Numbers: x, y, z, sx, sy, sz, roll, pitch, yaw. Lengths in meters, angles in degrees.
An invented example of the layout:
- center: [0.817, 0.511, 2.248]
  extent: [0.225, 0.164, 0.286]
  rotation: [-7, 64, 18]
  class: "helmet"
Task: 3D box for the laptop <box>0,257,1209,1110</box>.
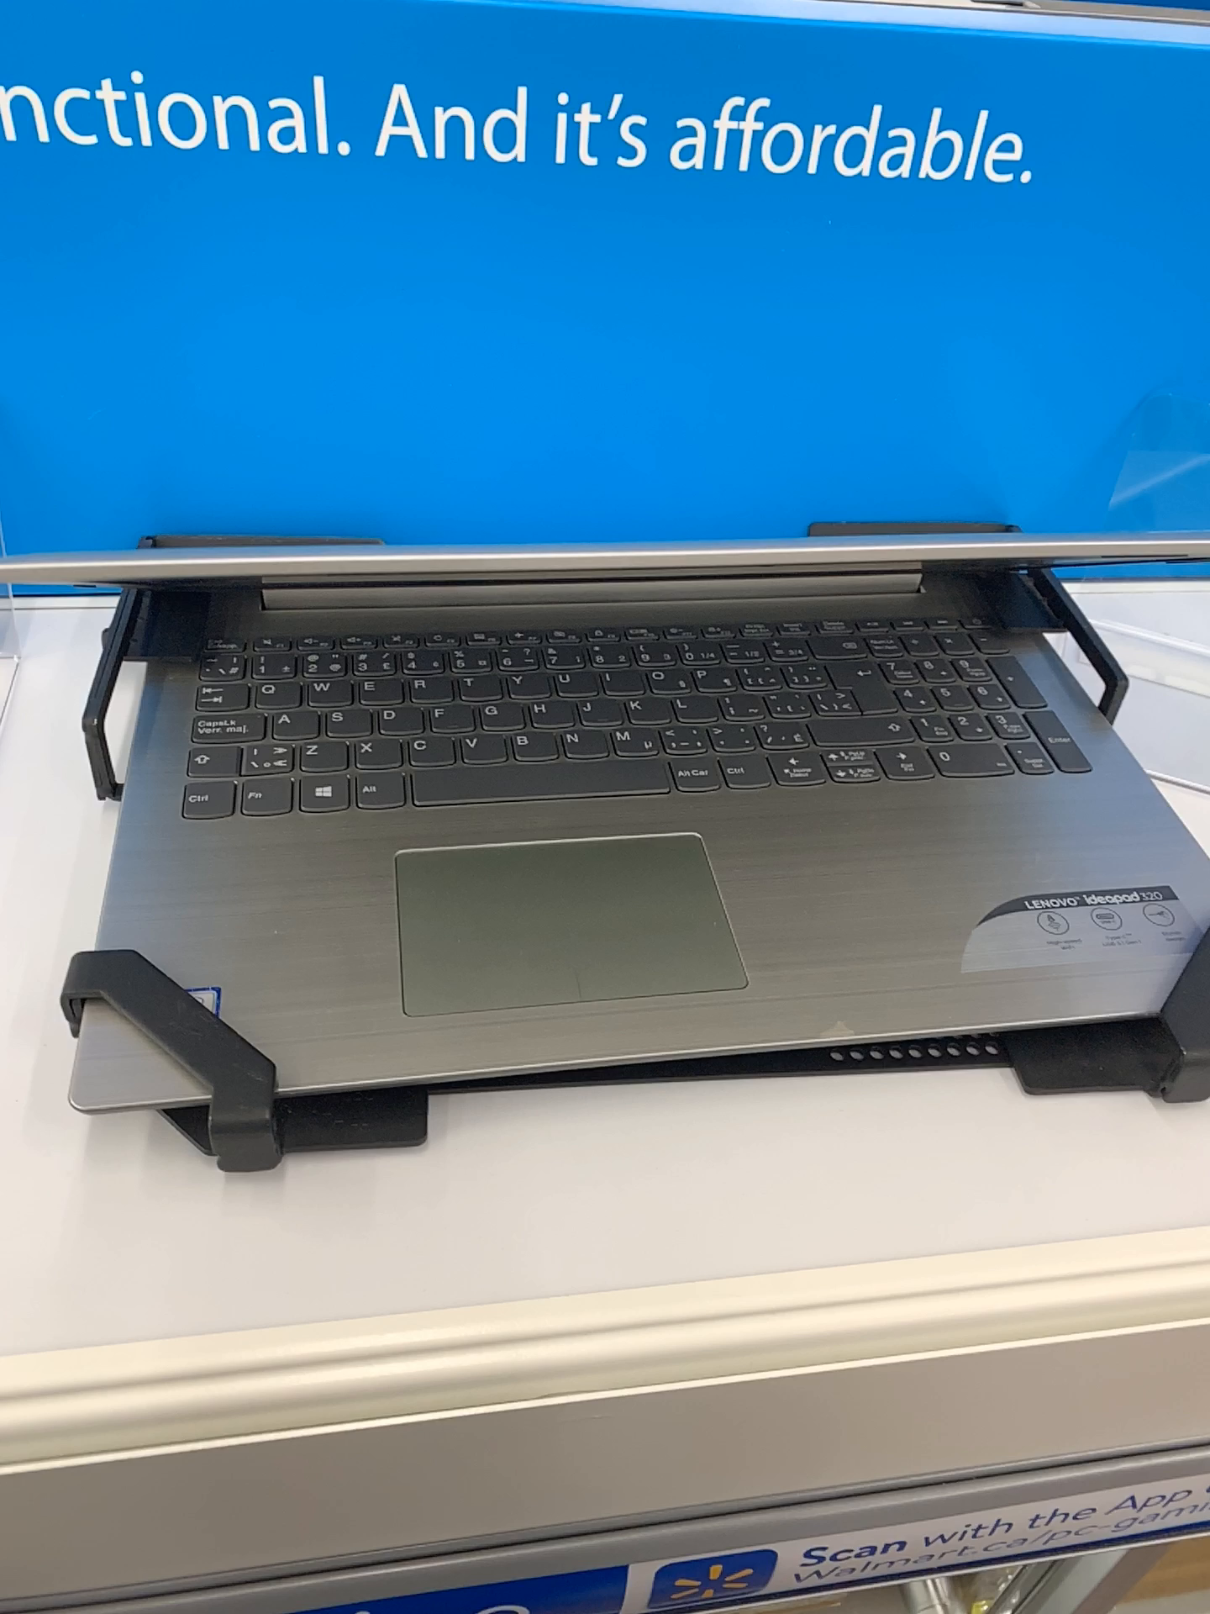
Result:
- center: [0.023, -0.059, 0.365]
  extent: [0.326, 0.115, 0.230]
  rotation: [-3, 42, -10]
  class: "laptop"
